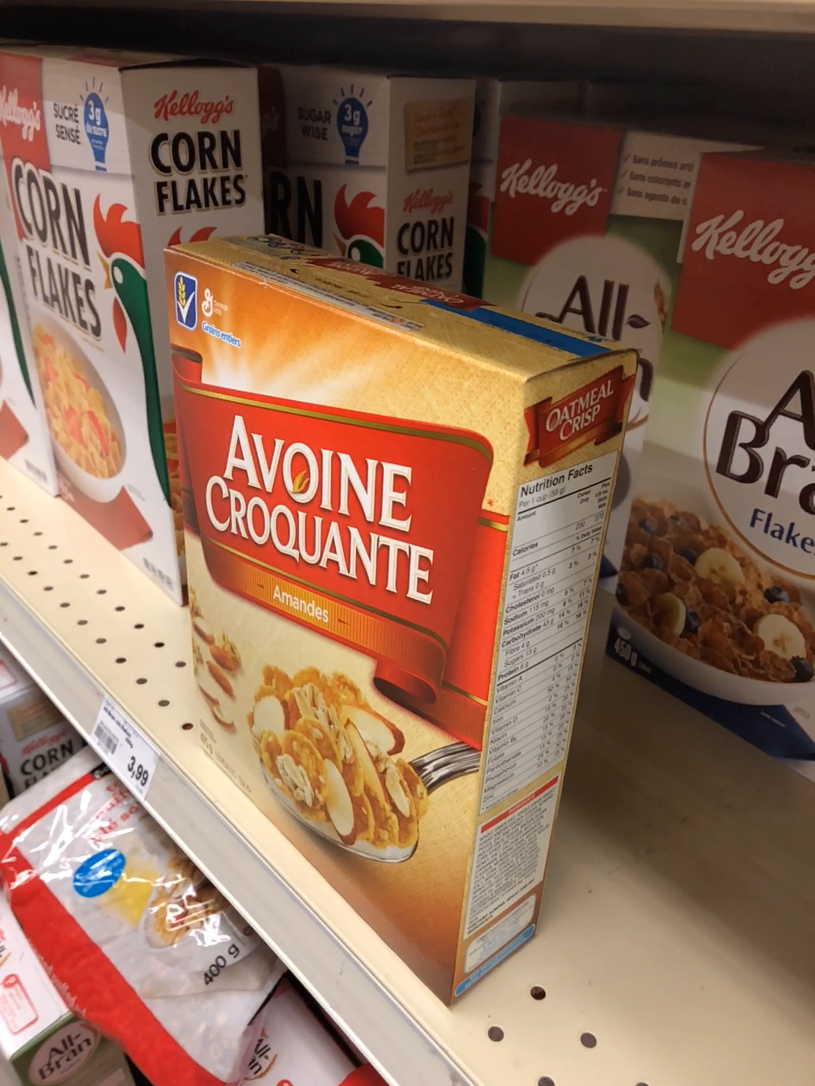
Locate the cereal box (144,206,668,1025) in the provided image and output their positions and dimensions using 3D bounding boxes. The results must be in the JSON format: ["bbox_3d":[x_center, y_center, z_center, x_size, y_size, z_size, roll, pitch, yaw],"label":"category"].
[{"bbox_3d":[-0.019,0.022,0.368,0.060,0.268,0.201,-21,37,-36],"label":"cereal box"}]
